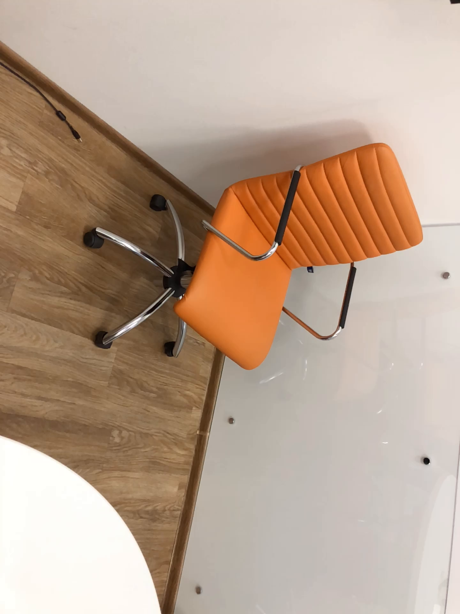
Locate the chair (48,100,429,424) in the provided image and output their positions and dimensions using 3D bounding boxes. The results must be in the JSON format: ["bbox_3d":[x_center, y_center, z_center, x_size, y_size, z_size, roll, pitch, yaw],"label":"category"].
[{"bbox_3d":[0.060,-0.092,1.608,0.623,0.895,0.661,37,62,-50],"label":"chair"}]
